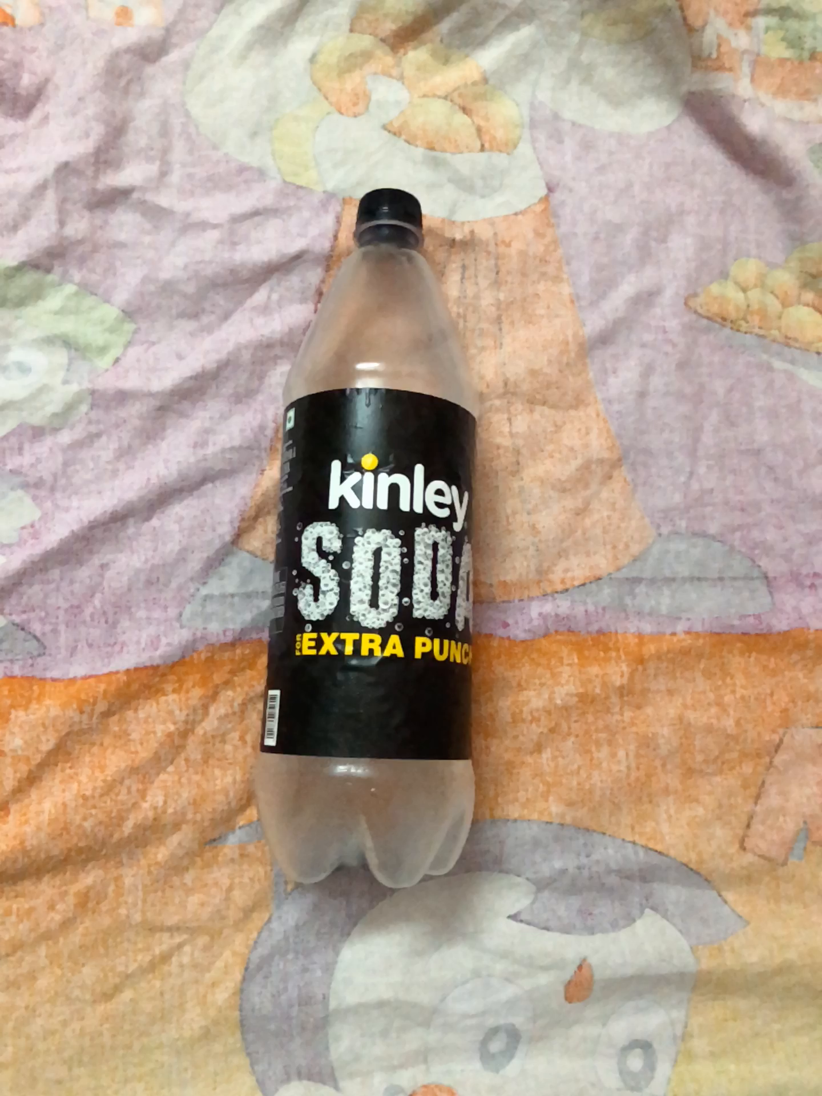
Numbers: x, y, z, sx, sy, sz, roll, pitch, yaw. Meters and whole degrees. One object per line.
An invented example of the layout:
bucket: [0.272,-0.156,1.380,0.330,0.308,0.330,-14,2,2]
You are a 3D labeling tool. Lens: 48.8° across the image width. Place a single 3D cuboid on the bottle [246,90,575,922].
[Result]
bottle: [-0.001,-0.014,0.355,0.090,0.080,0.280,6,83,-21]
